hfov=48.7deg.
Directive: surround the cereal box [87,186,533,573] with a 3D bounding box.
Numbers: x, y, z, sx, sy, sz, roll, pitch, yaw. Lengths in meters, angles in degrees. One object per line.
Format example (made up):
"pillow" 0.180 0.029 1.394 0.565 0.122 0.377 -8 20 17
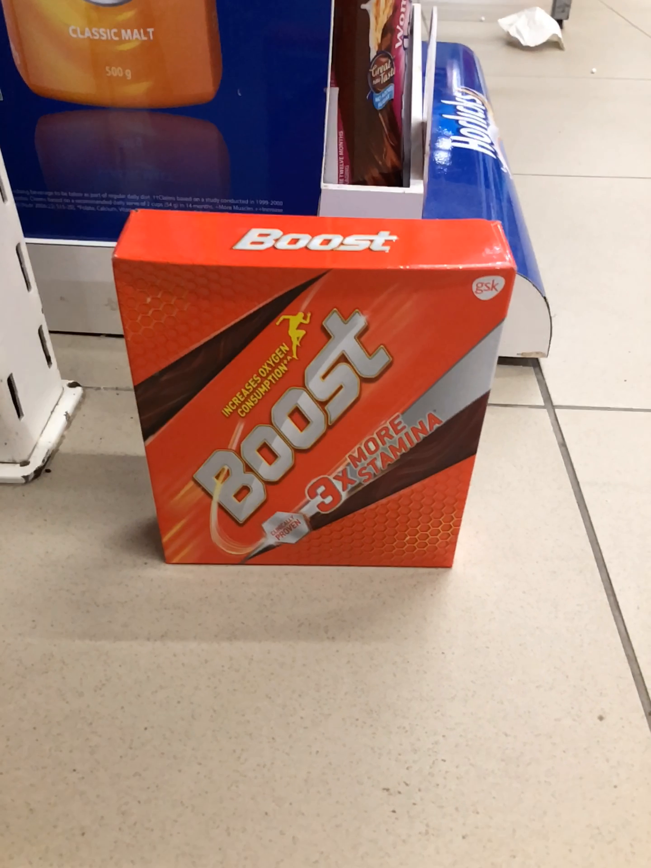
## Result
"cereal box" -0.009 -0.014 0.334 0.160 0.179 0.050 1 39 -3
